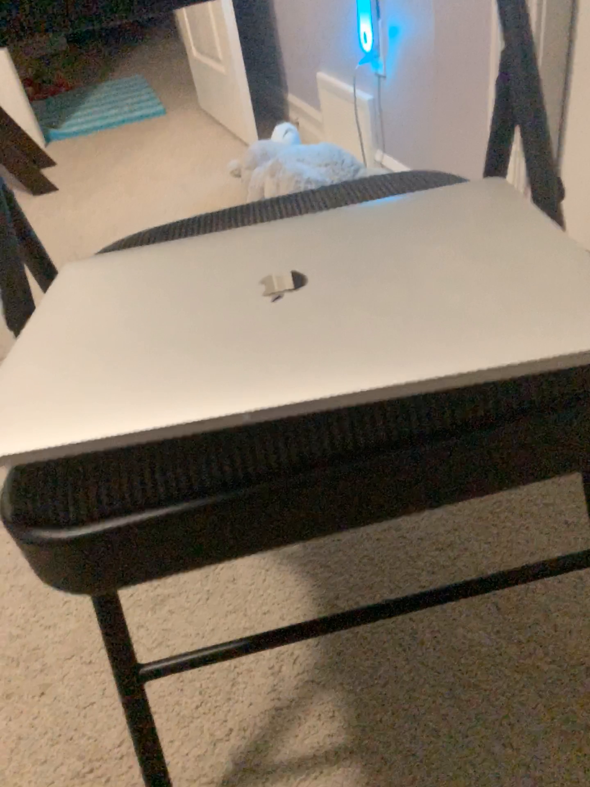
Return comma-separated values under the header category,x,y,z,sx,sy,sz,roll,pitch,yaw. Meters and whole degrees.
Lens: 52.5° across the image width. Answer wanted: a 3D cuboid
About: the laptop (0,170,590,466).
category,x,y,z,sx,sy,sz,roll,pitch,yaw
laptop,-0.007,-0.064,0.361,0.332,0.001,0.225,-10,38,4
